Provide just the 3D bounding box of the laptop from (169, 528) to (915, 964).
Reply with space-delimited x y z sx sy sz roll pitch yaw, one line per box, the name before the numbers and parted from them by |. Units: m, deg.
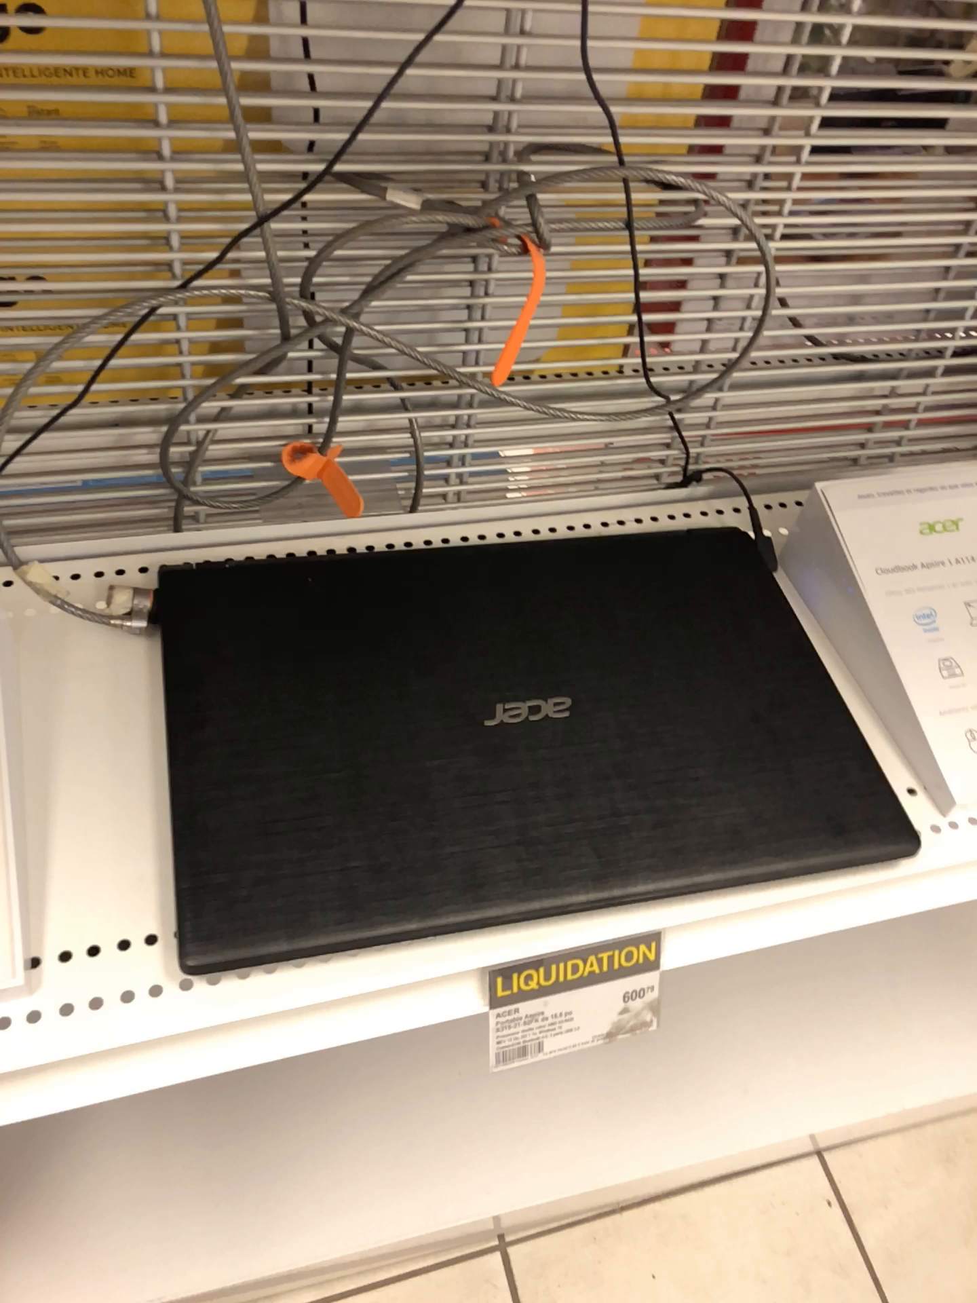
laptop | 0.019 0.027 0.598 0.374 0.003 0.248 -5 49 -15
